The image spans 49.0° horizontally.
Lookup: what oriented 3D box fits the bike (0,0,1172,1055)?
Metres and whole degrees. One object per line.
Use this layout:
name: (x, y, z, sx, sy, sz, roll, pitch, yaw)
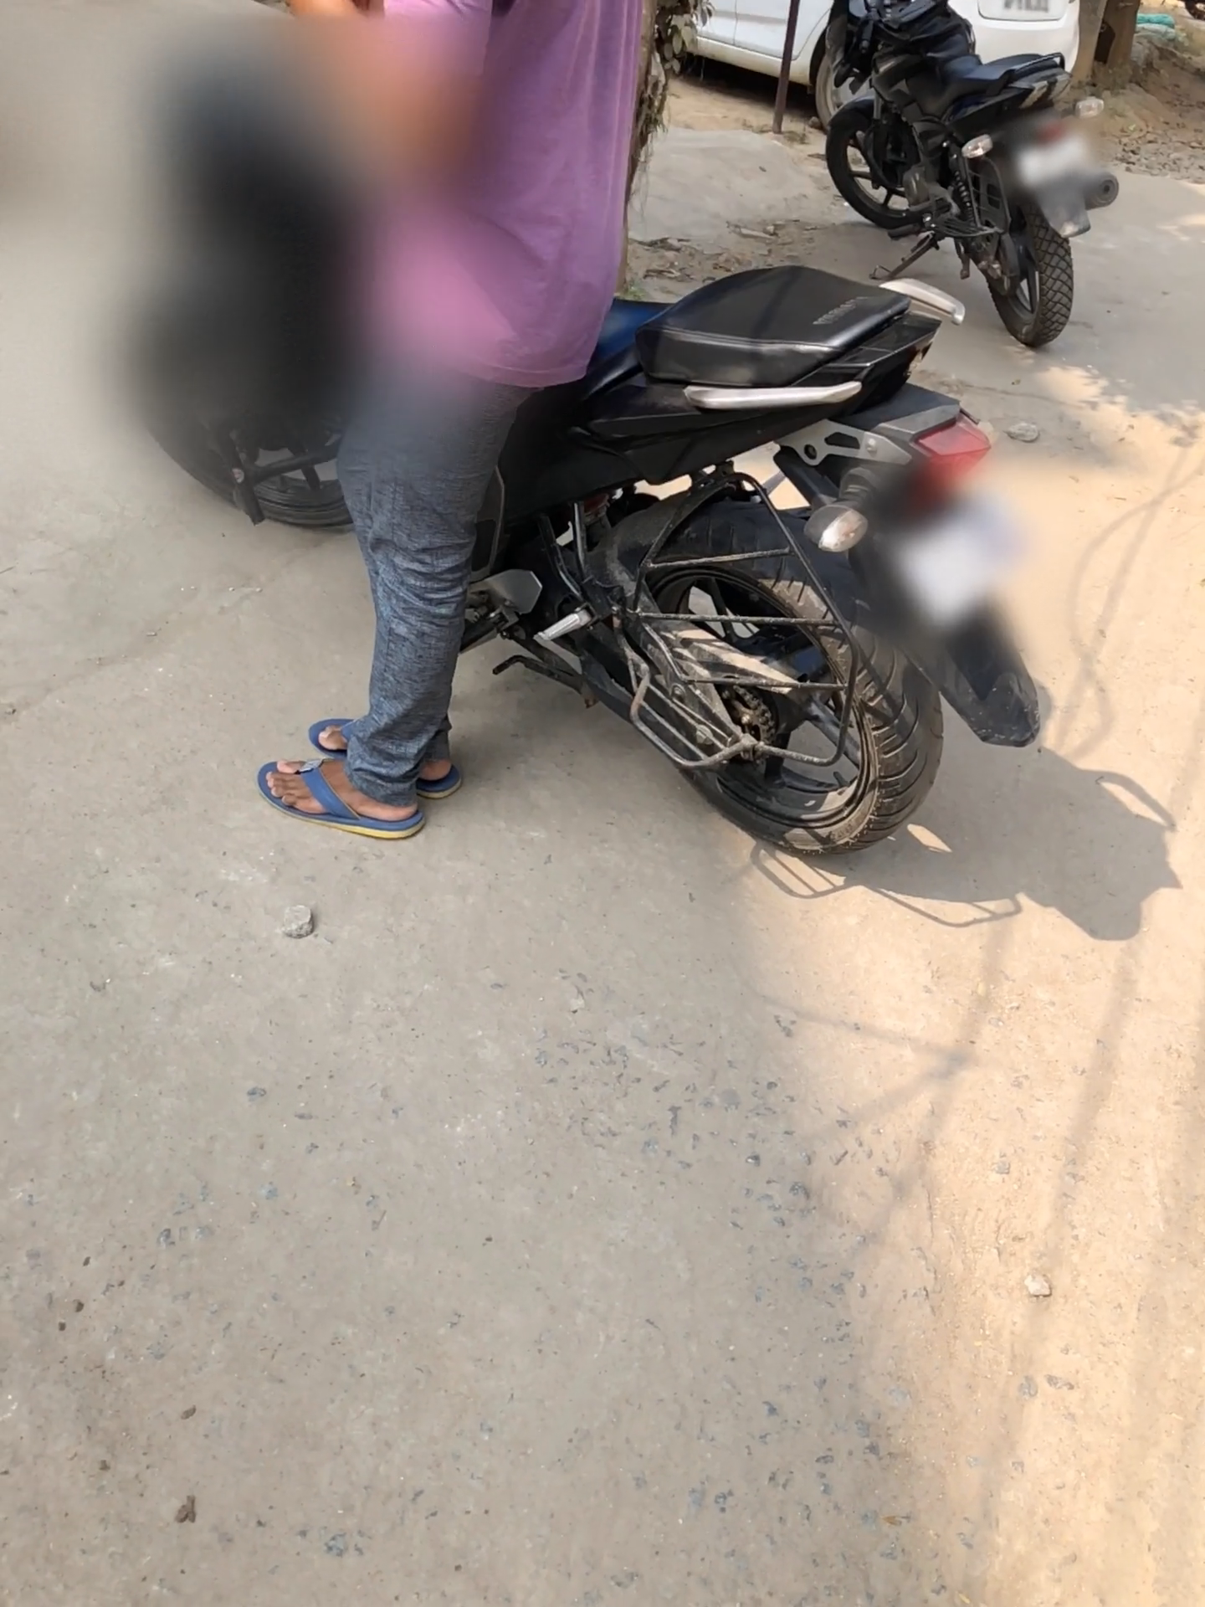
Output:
bike: (-0.324, -0.598, 1.866, 1.686, 0.959, 0.688, 30, 42, 25)
